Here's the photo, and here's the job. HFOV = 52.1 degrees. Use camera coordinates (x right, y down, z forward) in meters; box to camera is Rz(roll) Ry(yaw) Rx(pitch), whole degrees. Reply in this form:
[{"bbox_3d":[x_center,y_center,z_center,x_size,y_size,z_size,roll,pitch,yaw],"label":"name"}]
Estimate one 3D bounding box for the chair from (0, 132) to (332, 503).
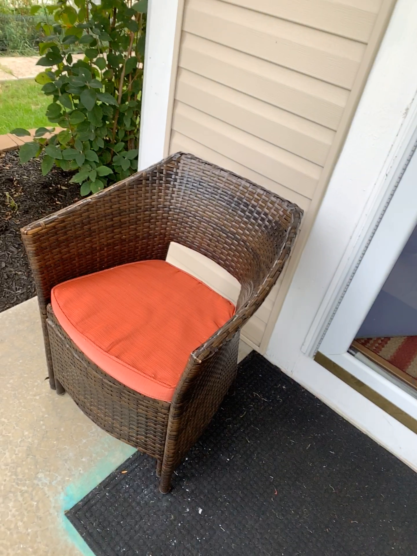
[{"bbox_3d":[-0.143,0.080,1.346,0.642,0.757,0.609,30,42,22],"label":"chair"}]
